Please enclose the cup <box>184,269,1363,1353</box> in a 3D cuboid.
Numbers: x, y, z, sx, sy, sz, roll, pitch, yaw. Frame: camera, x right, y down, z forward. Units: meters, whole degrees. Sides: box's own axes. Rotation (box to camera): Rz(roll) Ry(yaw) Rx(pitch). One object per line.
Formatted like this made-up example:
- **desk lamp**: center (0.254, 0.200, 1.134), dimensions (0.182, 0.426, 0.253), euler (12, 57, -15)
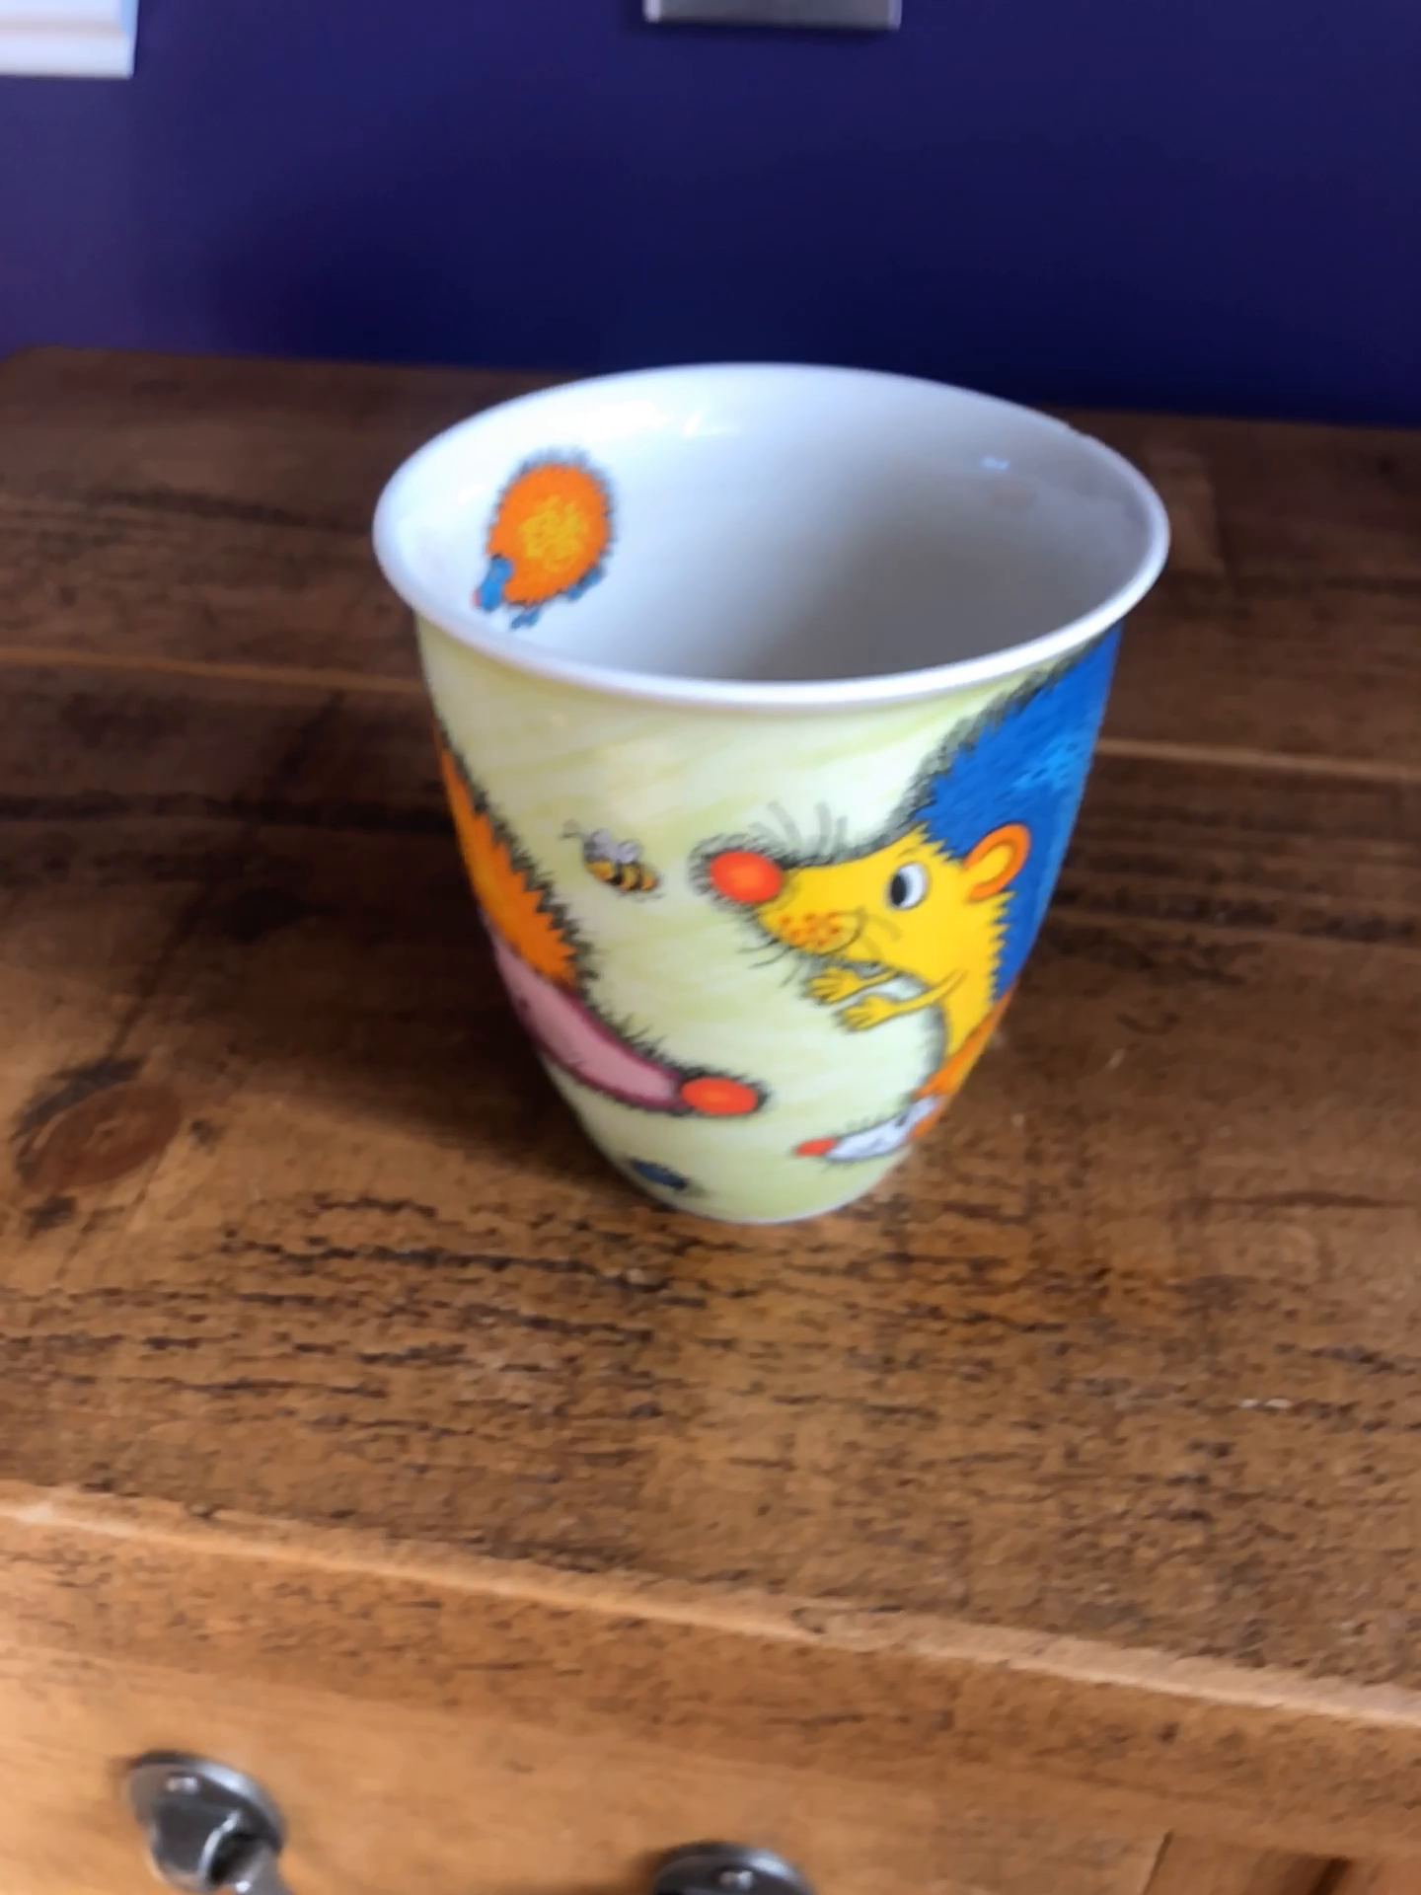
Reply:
- **cup**: center (0.013, -0.034, 0.247), dimensions (0.107, 0.089, 0.128), euler (26, 45, 29)
